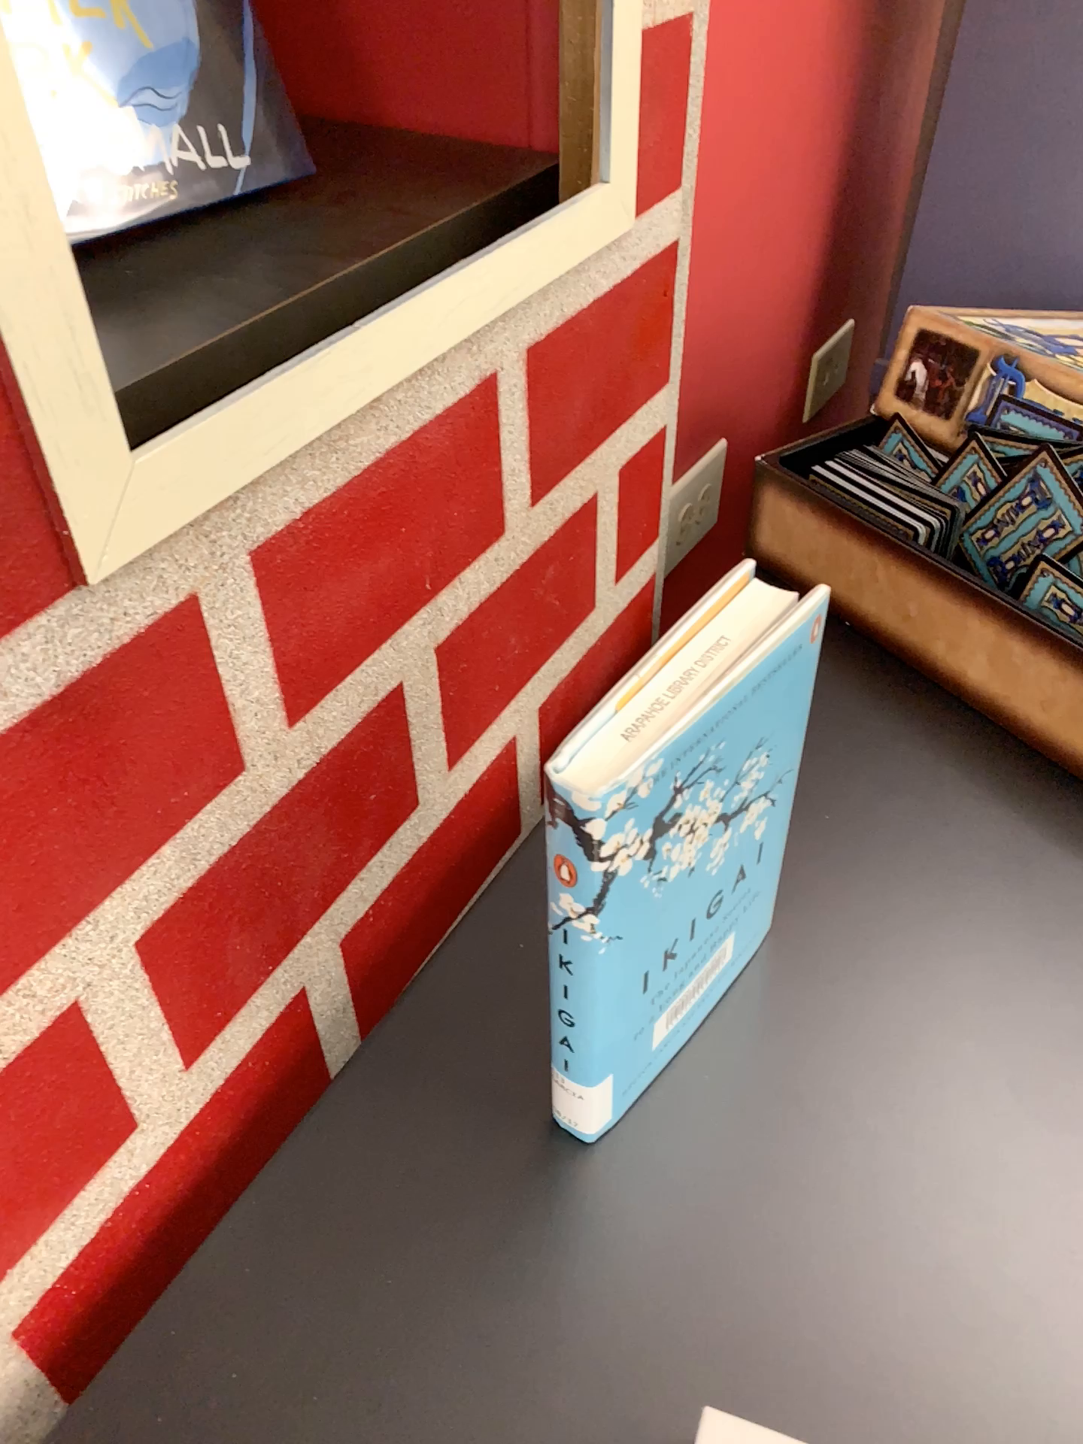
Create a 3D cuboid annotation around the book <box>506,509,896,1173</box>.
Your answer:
[{"bbox_3d":[0.053,0.047,0.401,0.040,0.199,0.150,29,49,28],"label":"book"}]
